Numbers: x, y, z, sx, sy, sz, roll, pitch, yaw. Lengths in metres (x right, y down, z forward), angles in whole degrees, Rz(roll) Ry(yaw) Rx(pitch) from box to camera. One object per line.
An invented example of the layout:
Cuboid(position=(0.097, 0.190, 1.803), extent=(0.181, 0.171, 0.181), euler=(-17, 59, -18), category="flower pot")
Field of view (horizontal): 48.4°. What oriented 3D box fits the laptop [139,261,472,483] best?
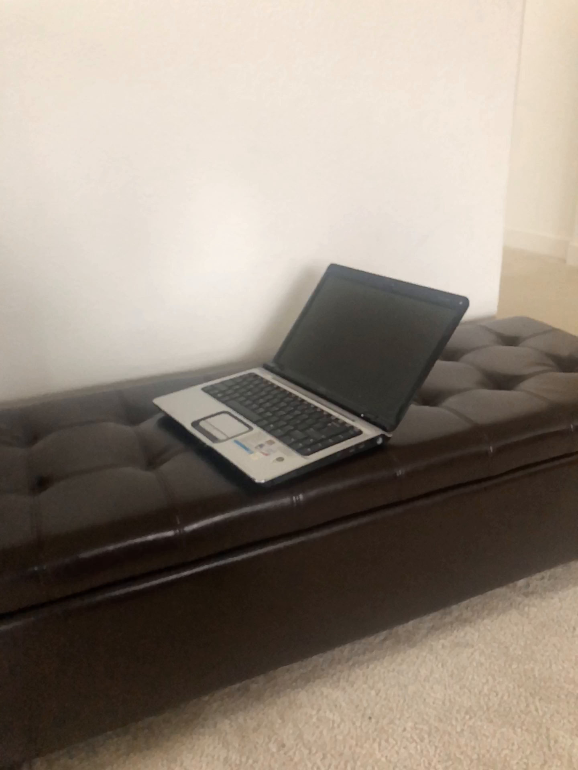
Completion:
Cuboid(position=(0.022, -0.053, 0.991), extent=(0.381, 0.161, 0.327), euler=(-18, 28, -32), category="laptop")
